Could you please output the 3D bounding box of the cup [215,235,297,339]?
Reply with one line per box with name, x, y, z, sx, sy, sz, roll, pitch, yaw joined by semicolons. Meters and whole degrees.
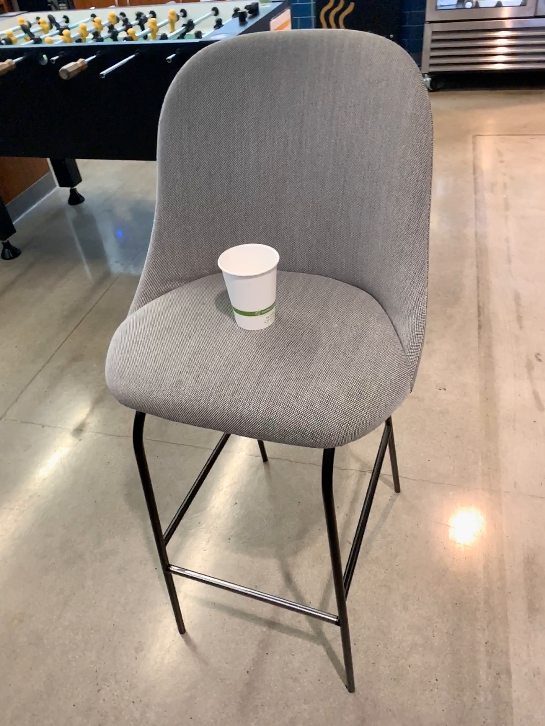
cup;-0.023;-0.110;0.796;0.090;0.099;0.091;-4;40;3
